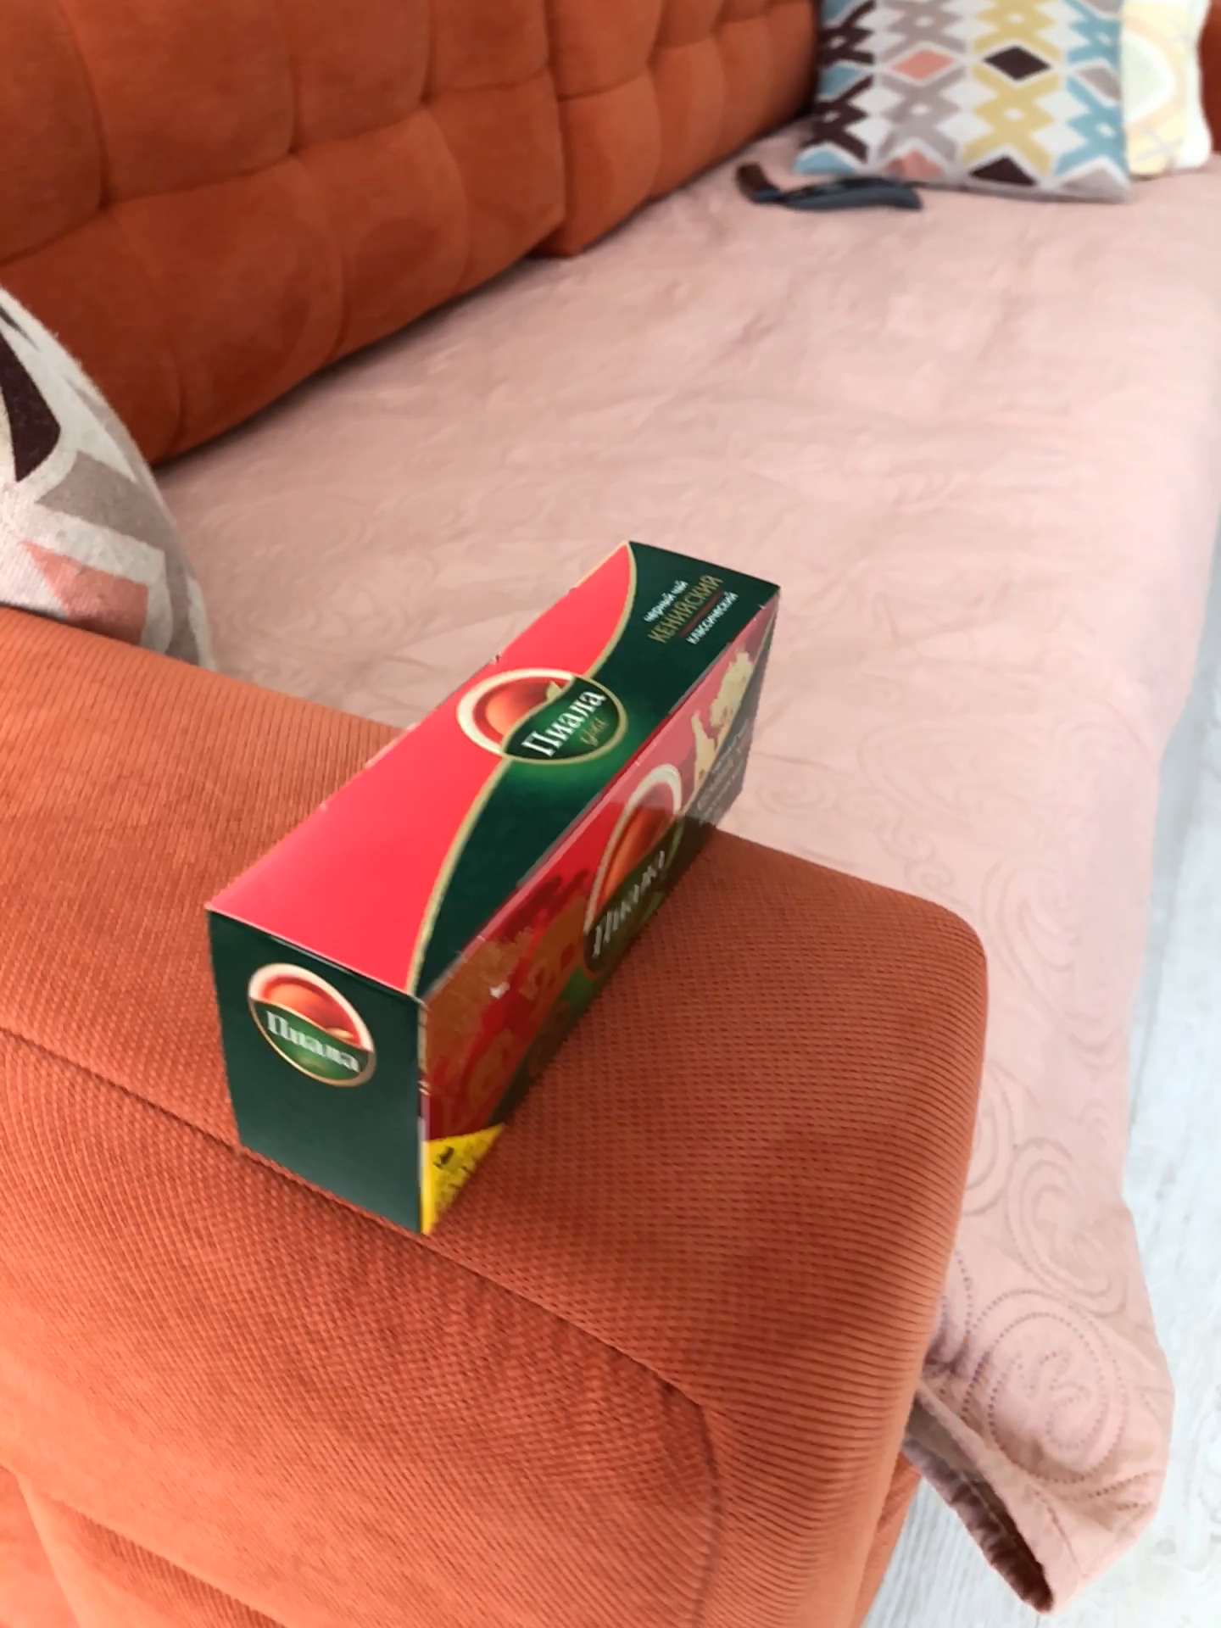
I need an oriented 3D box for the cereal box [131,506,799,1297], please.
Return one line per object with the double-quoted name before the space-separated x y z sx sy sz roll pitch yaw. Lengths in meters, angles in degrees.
"cereal box" -0.016 0.004 0.286 0.050 0.069 0.171 18 40 19
